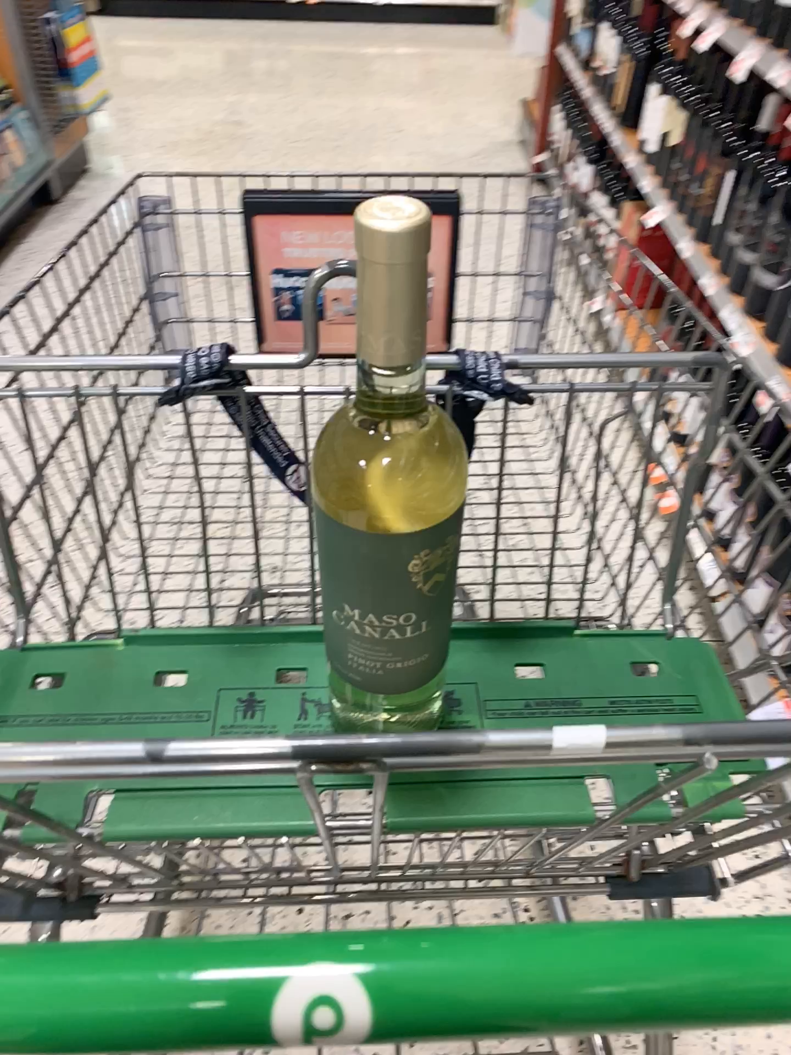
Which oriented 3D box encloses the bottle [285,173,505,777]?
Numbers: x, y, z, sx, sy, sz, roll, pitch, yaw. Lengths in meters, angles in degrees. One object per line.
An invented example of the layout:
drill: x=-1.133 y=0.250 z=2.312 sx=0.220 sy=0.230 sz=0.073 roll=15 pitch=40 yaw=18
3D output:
bottle: x=0.000 y=0.000 z=0.438 sx=0.080 sy=0.336 sz=0.091 roll=4 pitch=41 yaw=3
